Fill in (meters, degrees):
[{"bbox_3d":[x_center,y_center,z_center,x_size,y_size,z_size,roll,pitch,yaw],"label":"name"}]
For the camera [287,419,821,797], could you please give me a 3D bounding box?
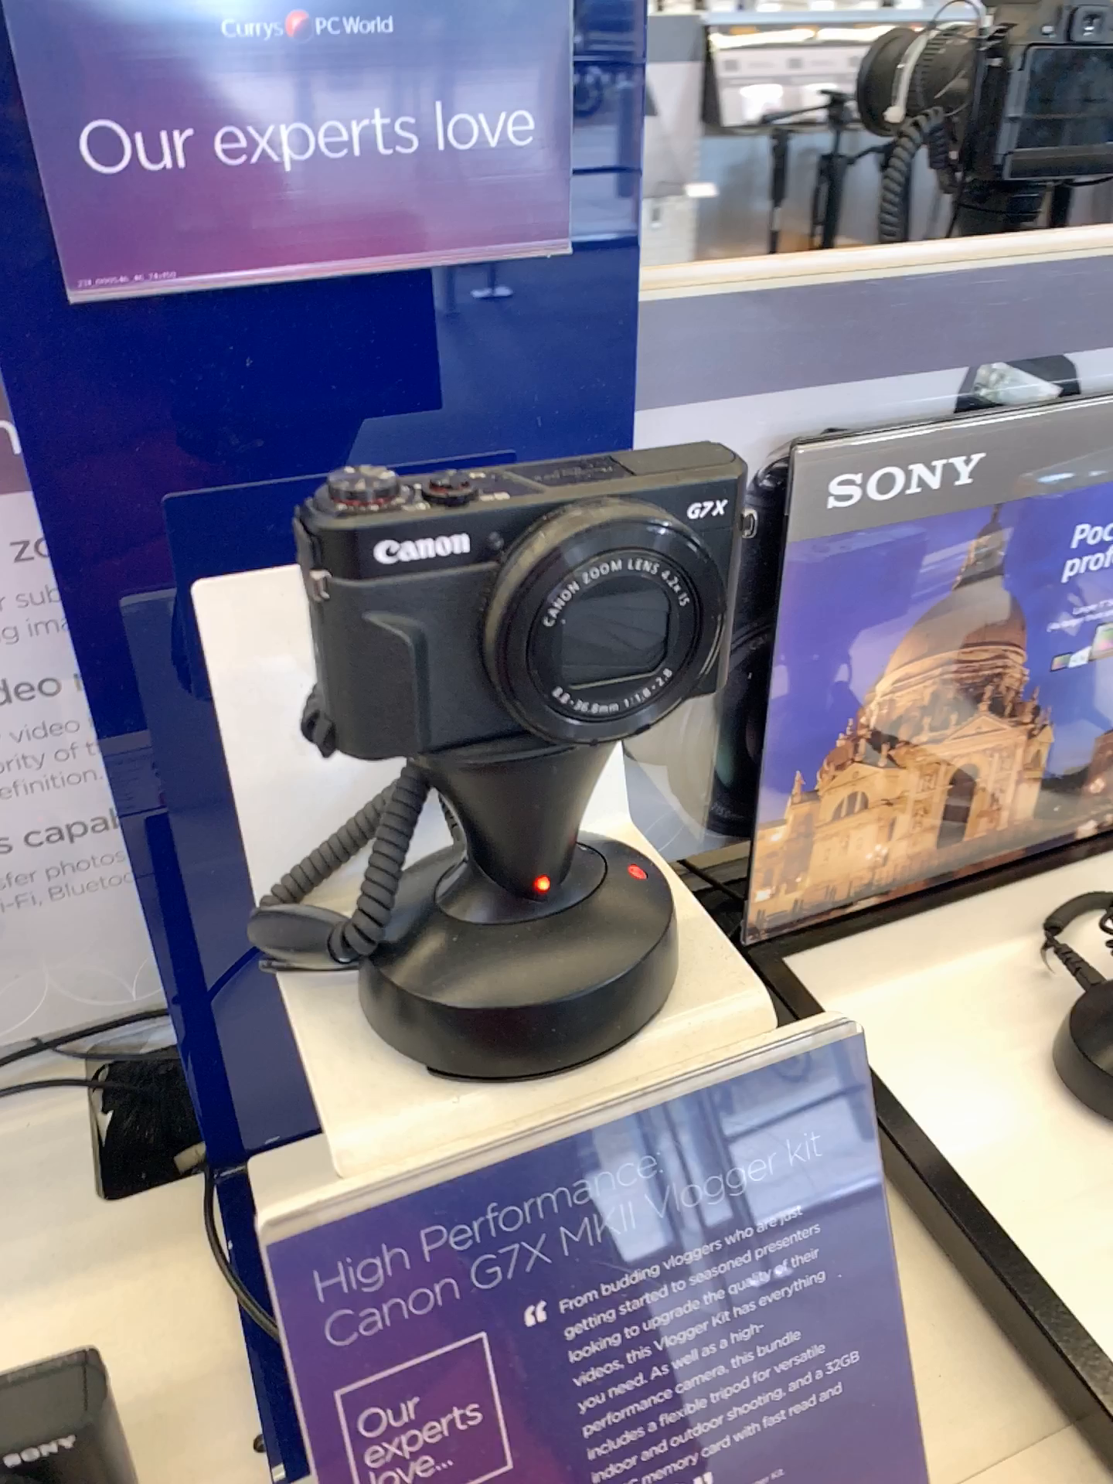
[{"bbox_3d":[0.000,-0.033,0.260,0.108,0.059,0.038,-11,32,-16],"label":"camera"}]
